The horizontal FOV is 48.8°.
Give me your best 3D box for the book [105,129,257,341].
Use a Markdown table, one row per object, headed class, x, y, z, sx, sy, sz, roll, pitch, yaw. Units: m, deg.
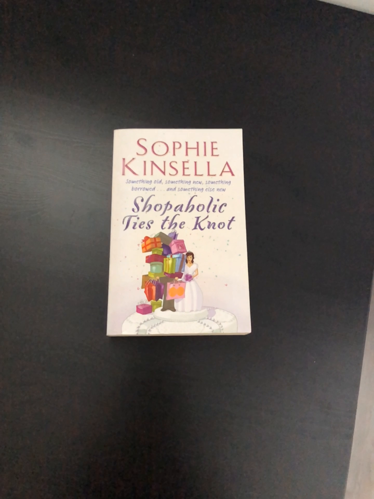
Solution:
| class | x | y | z | sx | sy | sz | roll | pitch | yaw |
| --- | --- | --- | --- | --- | --- | --- | --- | --- | --- |
| book | -0.005 | -0.016 | 0.394 | 0.130 | 0.035 | 0.200 | 0 | 76 | -1 |
